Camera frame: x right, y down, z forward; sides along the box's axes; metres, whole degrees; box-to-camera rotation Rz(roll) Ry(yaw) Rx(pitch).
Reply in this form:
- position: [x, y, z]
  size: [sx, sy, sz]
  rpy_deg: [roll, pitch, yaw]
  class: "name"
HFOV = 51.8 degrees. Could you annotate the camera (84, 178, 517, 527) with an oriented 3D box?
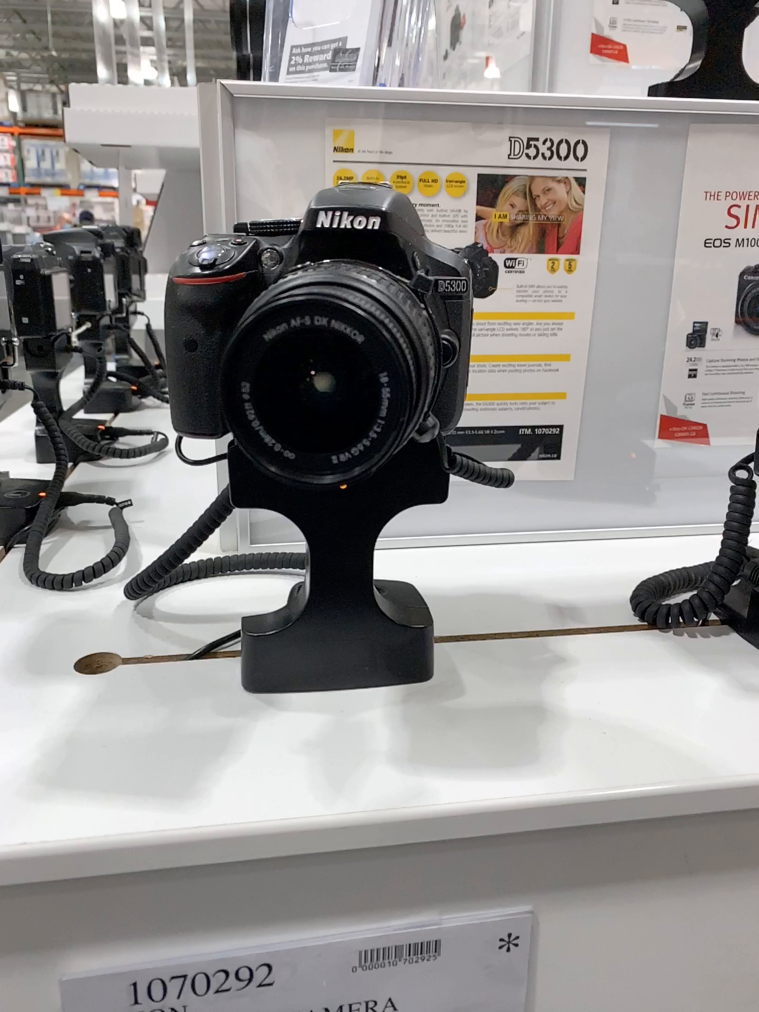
- position: [-0.020, -0.065, 0.302]
  size: [0.120, 0.099, 0.151]
  rpy_deg: [1, 17, 2]
  class: "camera"
